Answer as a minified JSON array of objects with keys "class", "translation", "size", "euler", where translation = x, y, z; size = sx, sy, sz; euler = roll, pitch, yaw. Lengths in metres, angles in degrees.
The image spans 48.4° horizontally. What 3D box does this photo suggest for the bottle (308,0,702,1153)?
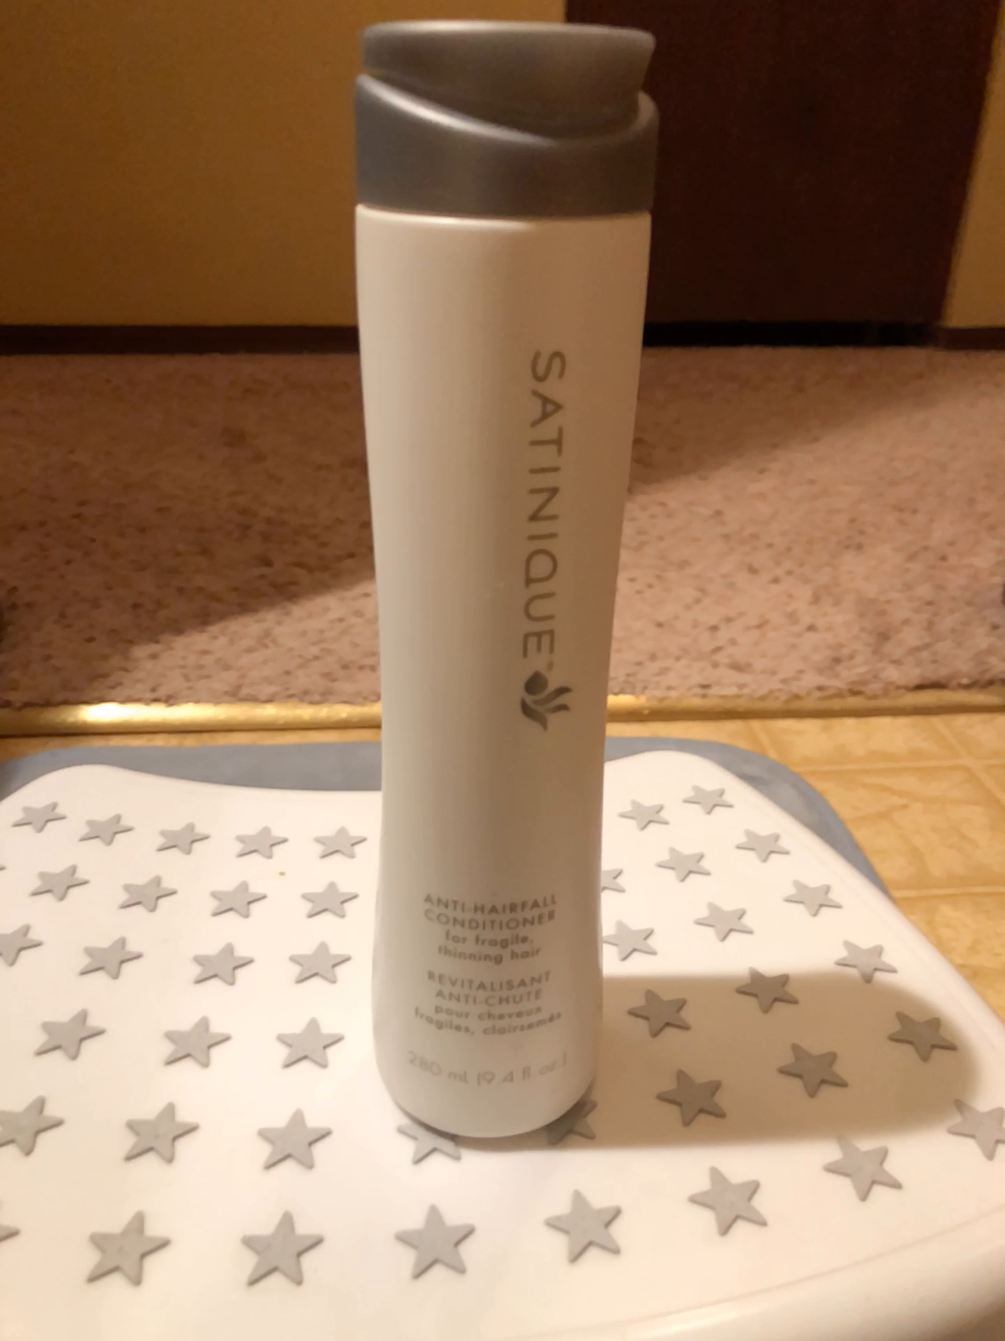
[{"class":"bottle","translation":[0.000,-0.005,0.211],"size":[0.050,0.209,0.050],"euler":[0,26,0]}]
